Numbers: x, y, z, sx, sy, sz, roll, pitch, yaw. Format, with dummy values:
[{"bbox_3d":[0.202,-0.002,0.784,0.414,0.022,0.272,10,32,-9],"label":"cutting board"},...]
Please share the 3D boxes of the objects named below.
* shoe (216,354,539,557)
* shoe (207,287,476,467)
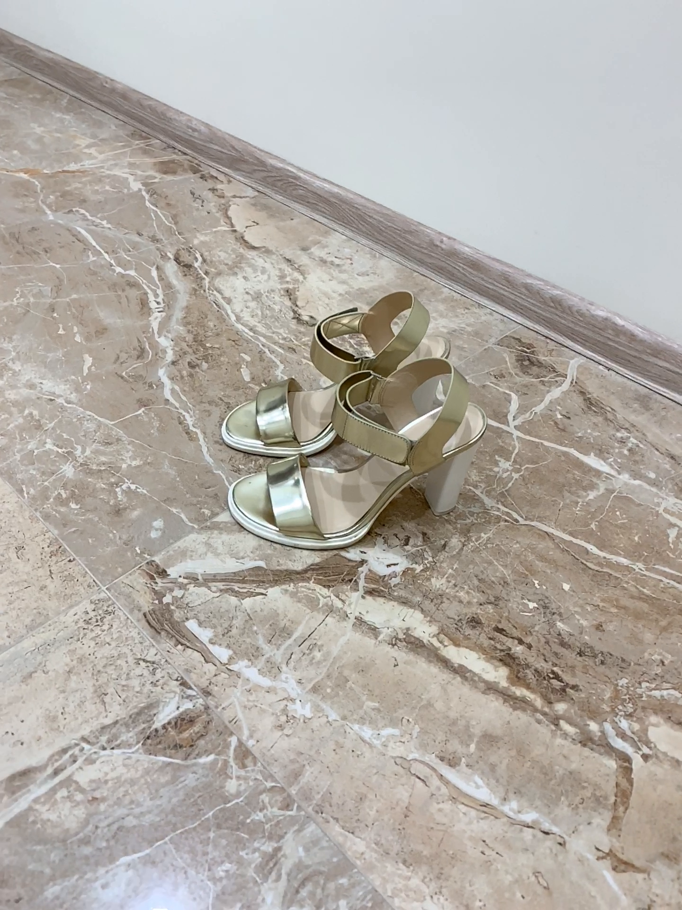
[{"bbox_3d":[0.018,-0.002,0.566,0.230,0.119,0.101,-2,43,-9],"label":"shoe"},{"bbox_3d":[-0.007,-0.072,0.642,0.220,0.129,0.096,-2,43,-9],"label":"shoe"}]
